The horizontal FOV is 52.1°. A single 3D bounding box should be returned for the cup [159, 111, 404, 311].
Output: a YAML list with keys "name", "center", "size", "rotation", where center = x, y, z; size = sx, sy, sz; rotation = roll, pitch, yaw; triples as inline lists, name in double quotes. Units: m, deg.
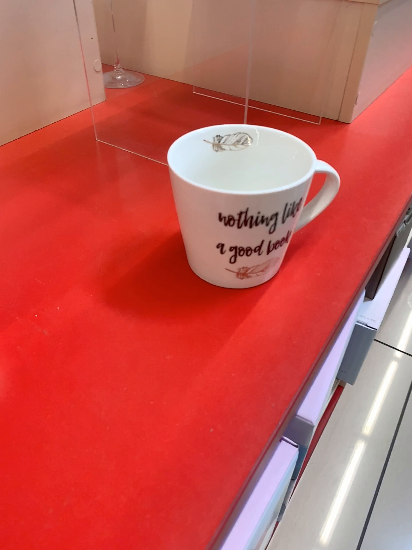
- name: "cup"
  center: [0.041, -0.048, 0.296]
  size: [0.130, 0.090, 0.090]
  rotation: [-9, 42, -10]
